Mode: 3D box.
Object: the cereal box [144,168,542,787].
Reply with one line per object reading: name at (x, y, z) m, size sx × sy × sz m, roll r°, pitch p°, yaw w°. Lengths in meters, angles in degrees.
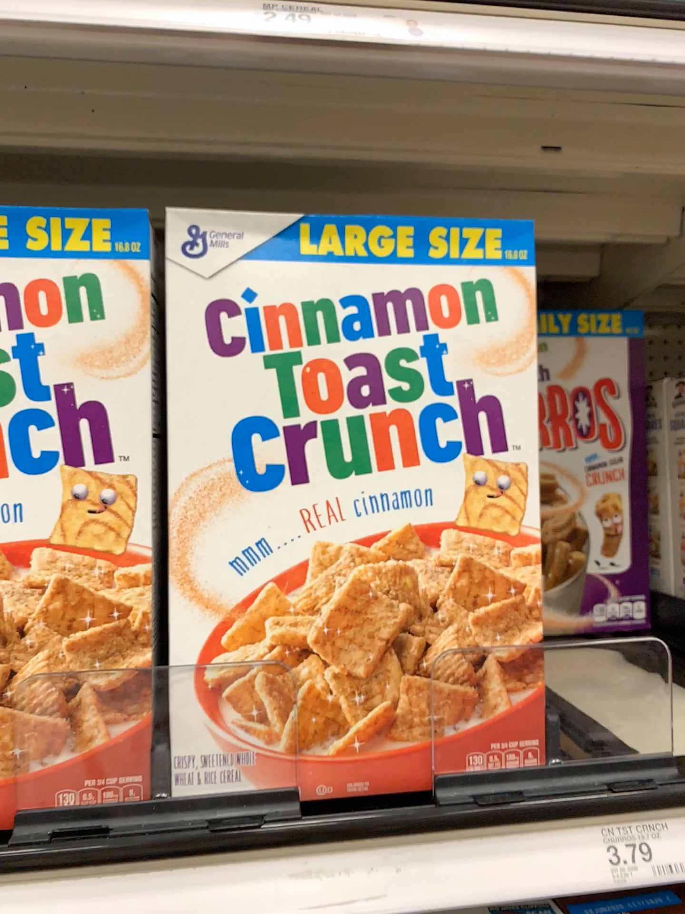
cereal box at (-0.002, 0.007, 0.383) m, size 0.190 × 0.290 × 0.070 m, roll -1°, pitch -1°, yaw -8°
